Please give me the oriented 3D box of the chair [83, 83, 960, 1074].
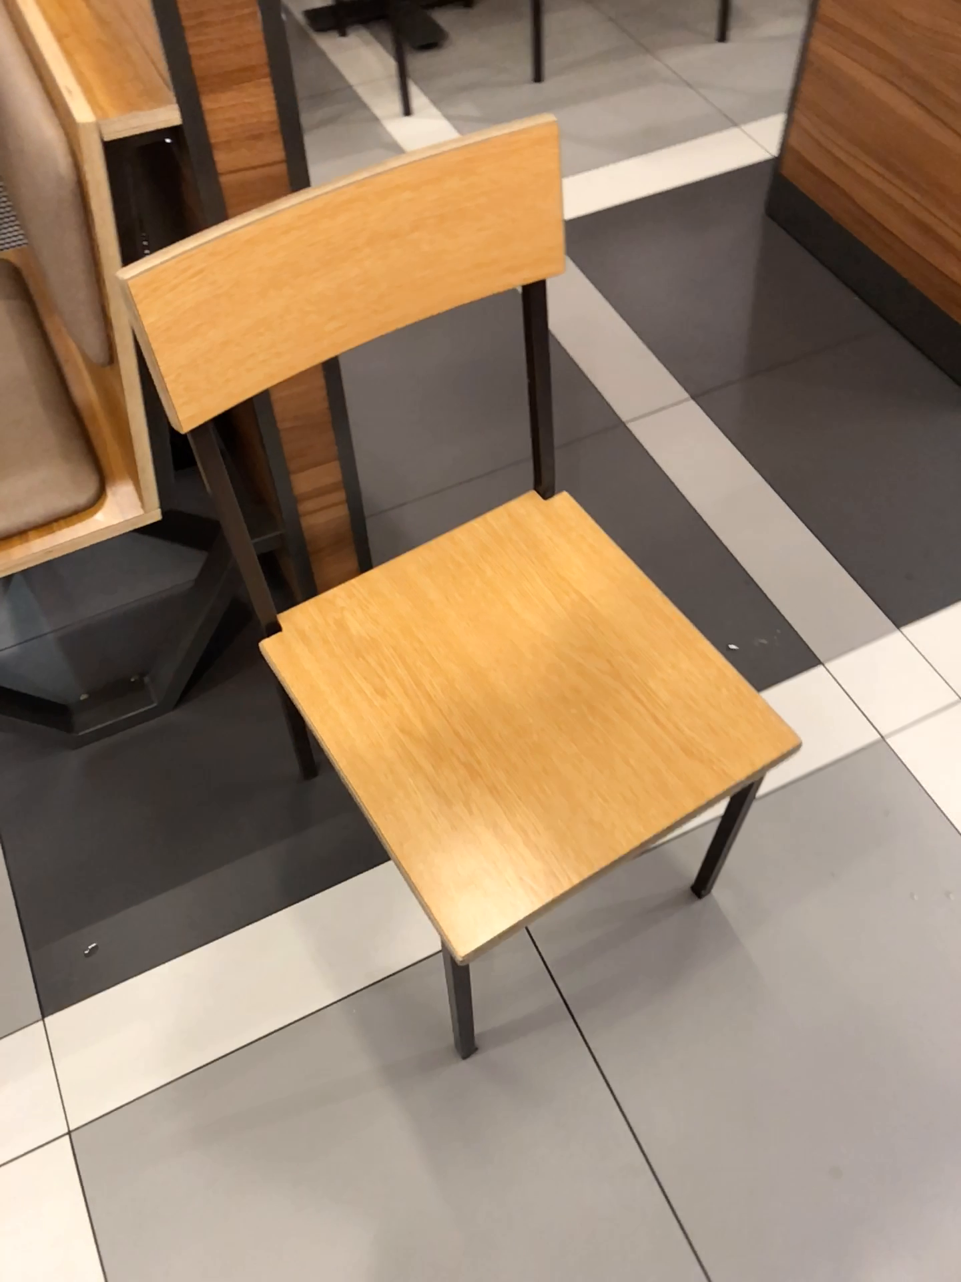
[{"bbox_3d":[0.017,0.014,1.078,0.430,0.847,0.461,-29,59,-18],"label":"chair"}]
